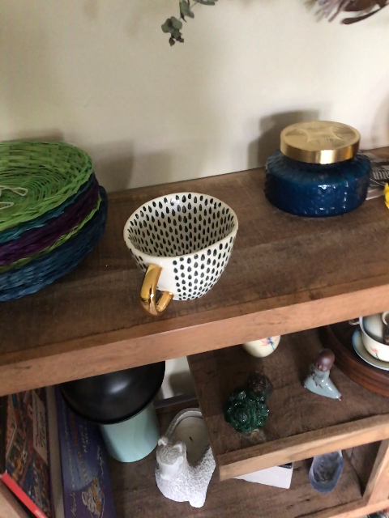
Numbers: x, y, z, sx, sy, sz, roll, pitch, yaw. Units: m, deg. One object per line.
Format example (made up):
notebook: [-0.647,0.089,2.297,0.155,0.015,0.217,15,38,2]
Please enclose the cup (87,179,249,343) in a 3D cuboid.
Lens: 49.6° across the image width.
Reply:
cup: [-0.017,-0.006,0.411,0.100,0.079,0.131,13,41,21]
